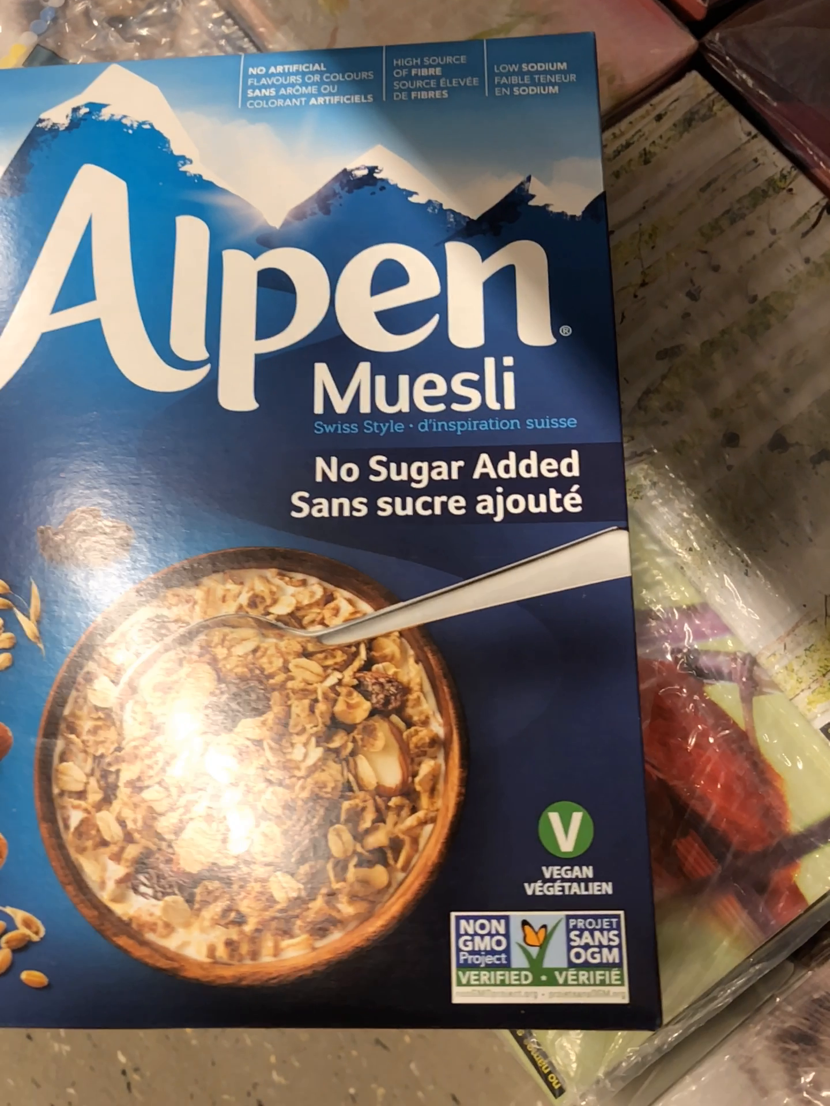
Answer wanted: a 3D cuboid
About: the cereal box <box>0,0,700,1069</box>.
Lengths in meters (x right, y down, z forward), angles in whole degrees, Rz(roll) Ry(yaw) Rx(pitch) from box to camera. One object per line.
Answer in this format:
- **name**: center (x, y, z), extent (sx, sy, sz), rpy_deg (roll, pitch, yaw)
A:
- **cereal box**: center (-0.046, -0.015, 0.235), extent (0.200, 0.050, 0.250), rpy_deg (-2, 77, 3)
